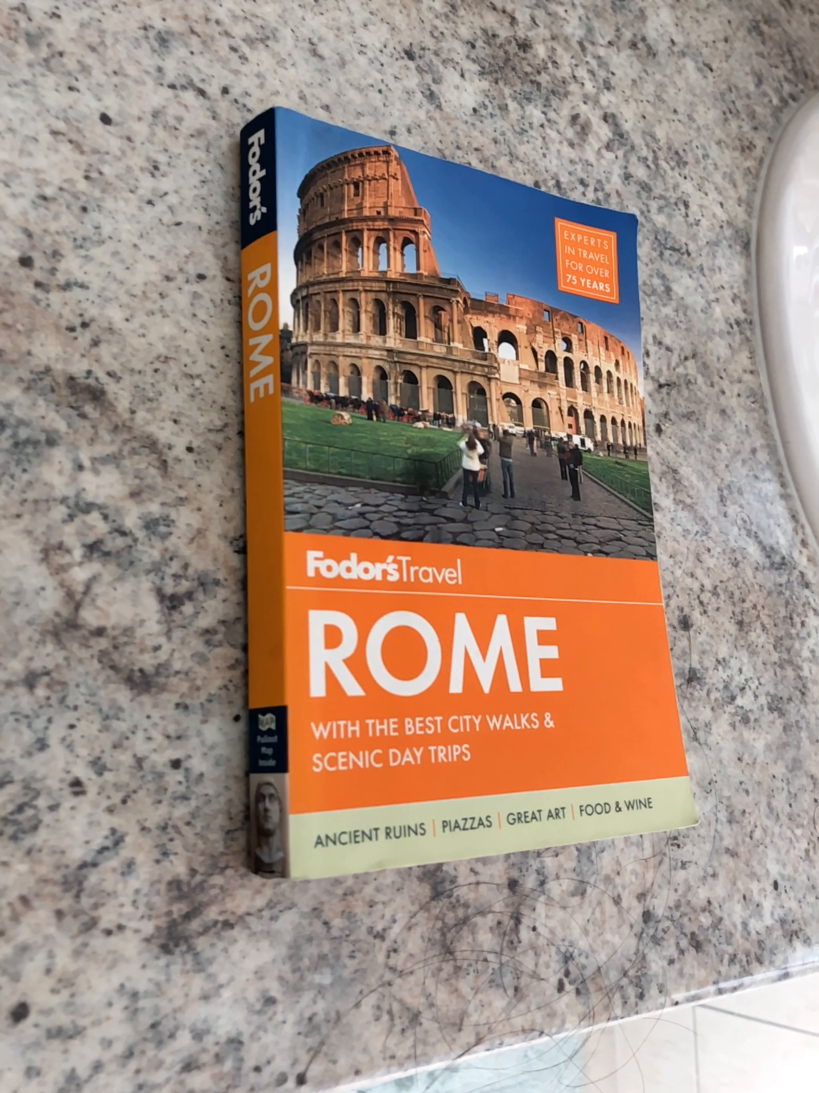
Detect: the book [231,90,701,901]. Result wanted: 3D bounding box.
[{"bbox_3d":[0.018,-0.015,0.271,0.139,0.023,0.207,4,76,-31],"label":"book"}]
